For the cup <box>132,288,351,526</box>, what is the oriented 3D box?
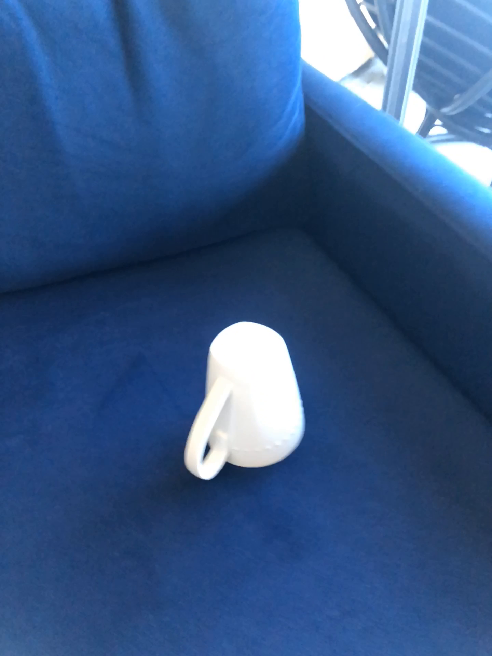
[{"bbox_3d":[0.002,0.060,0.469,0.110,0.090,0.150,25,50,25],"label":"cup"}]
